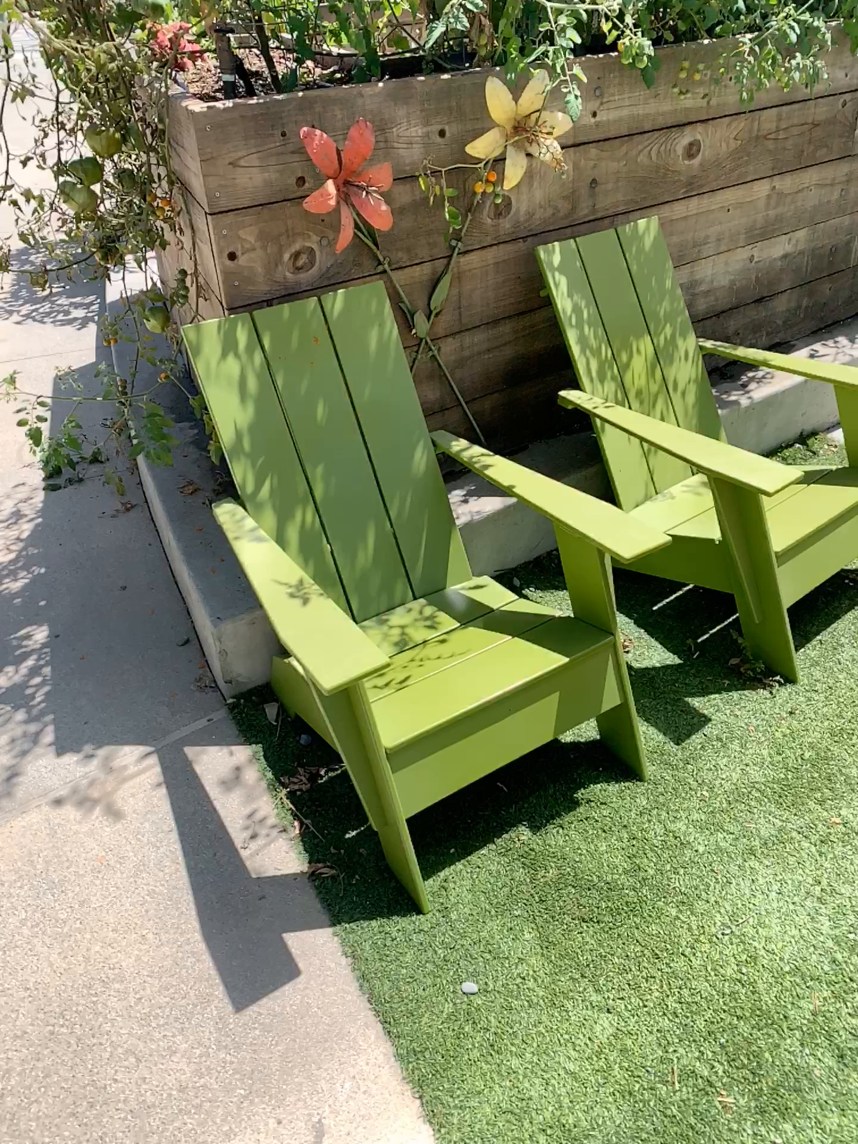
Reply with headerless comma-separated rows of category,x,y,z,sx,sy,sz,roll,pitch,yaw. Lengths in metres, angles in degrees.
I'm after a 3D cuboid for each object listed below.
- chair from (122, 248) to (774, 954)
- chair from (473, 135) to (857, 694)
chair,-0.002,-0.059,1.632,0.680,0.835,0.905,-22,33,-25
chair,0.731,-0.419,2.200,0.680,0.985,0.894,-24,25,-22
